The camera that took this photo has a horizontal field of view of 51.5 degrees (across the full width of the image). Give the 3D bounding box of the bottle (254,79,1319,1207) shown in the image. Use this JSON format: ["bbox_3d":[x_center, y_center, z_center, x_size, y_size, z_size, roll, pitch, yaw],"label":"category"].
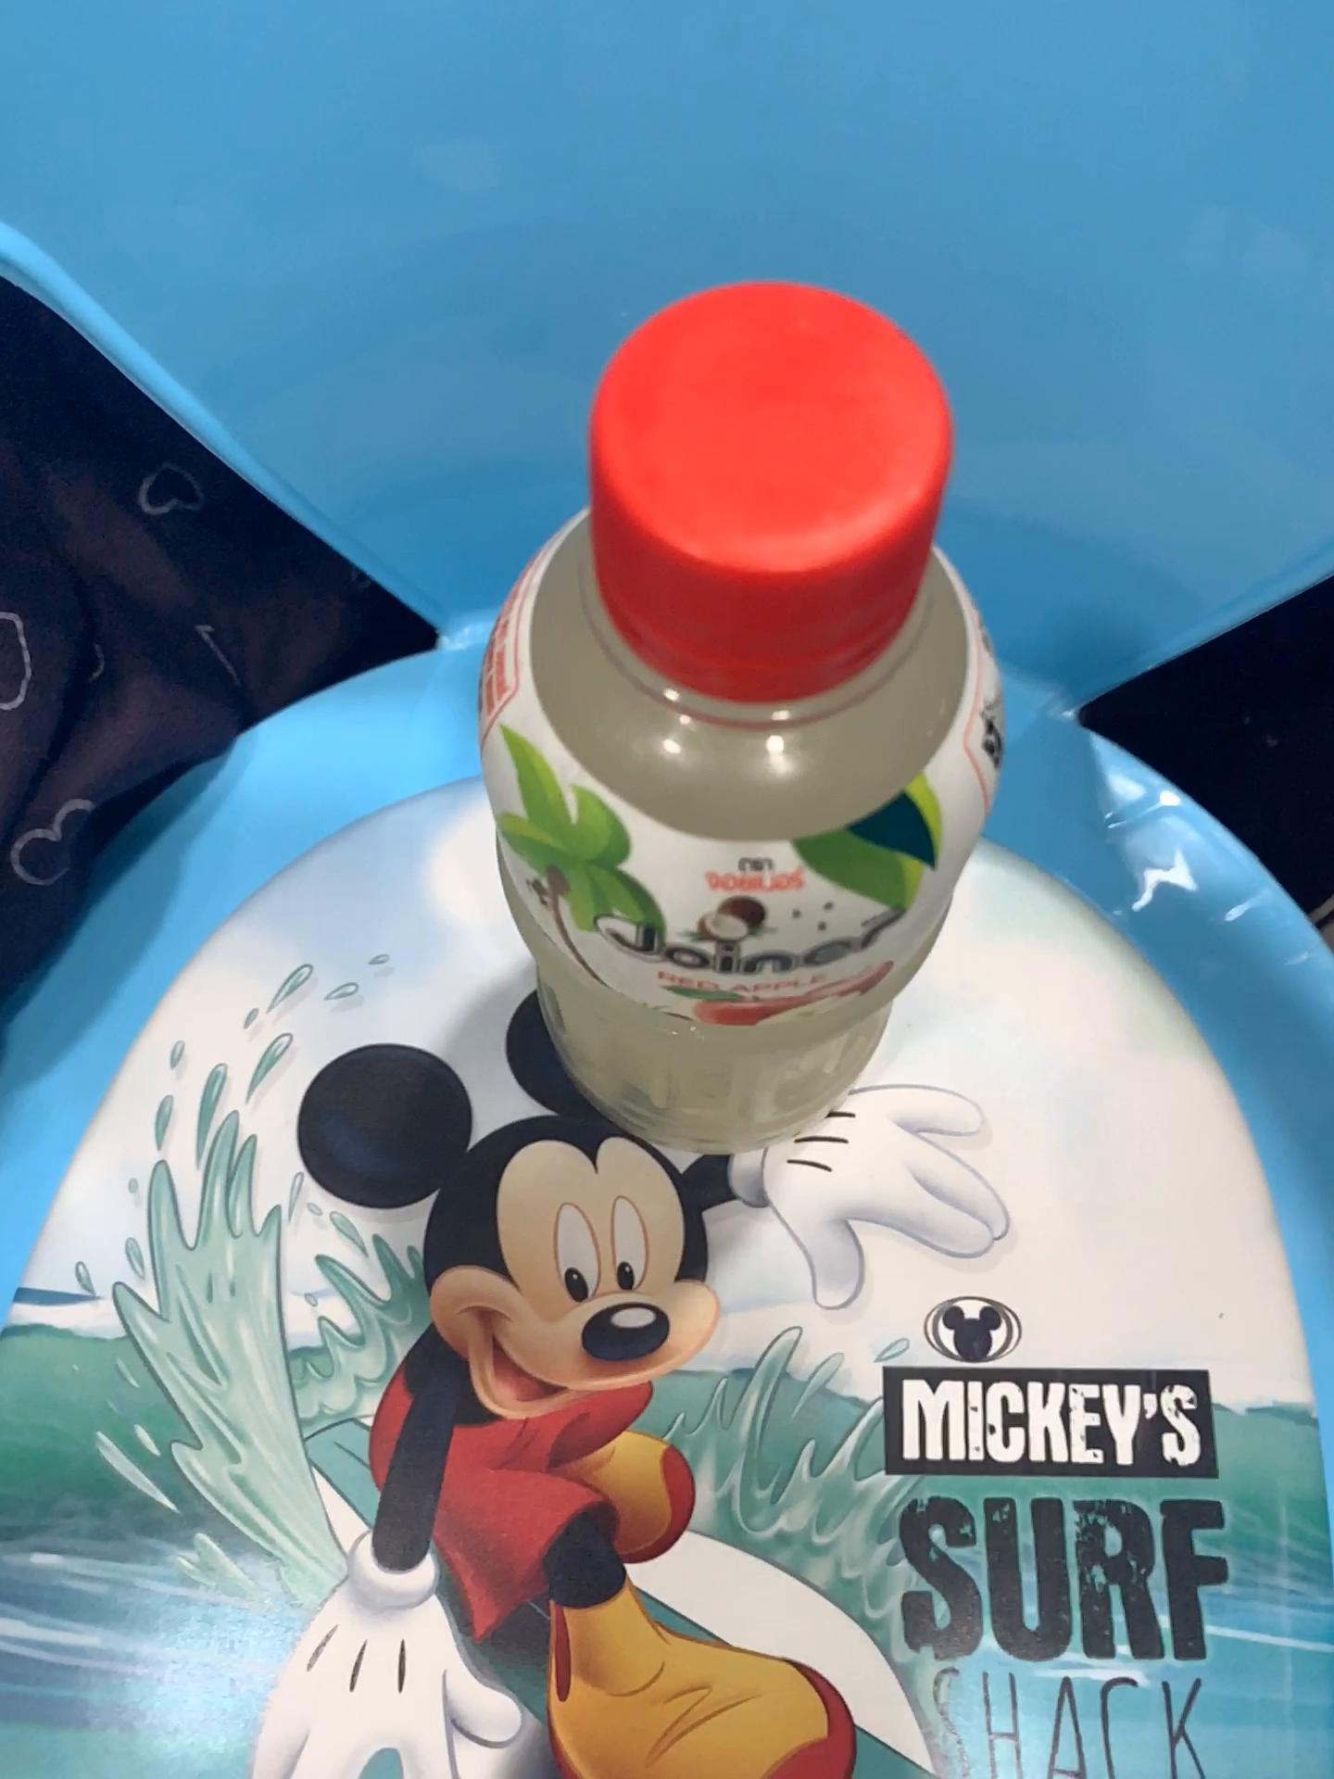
[{"bbox_3d":[0.011,-0.009,0.172,0.070,0.150,0.060,3,66,3],"label":"bottle"}]
